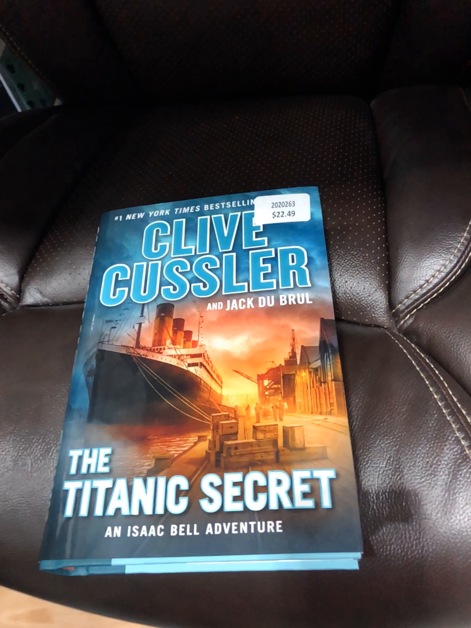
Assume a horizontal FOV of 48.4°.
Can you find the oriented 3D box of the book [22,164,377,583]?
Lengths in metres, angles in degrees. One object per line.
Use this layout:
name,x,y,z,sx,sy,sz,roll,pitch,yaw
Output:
book,-0.017,0.022,0.320,0.165,0.040,0.249,-5,58,8
